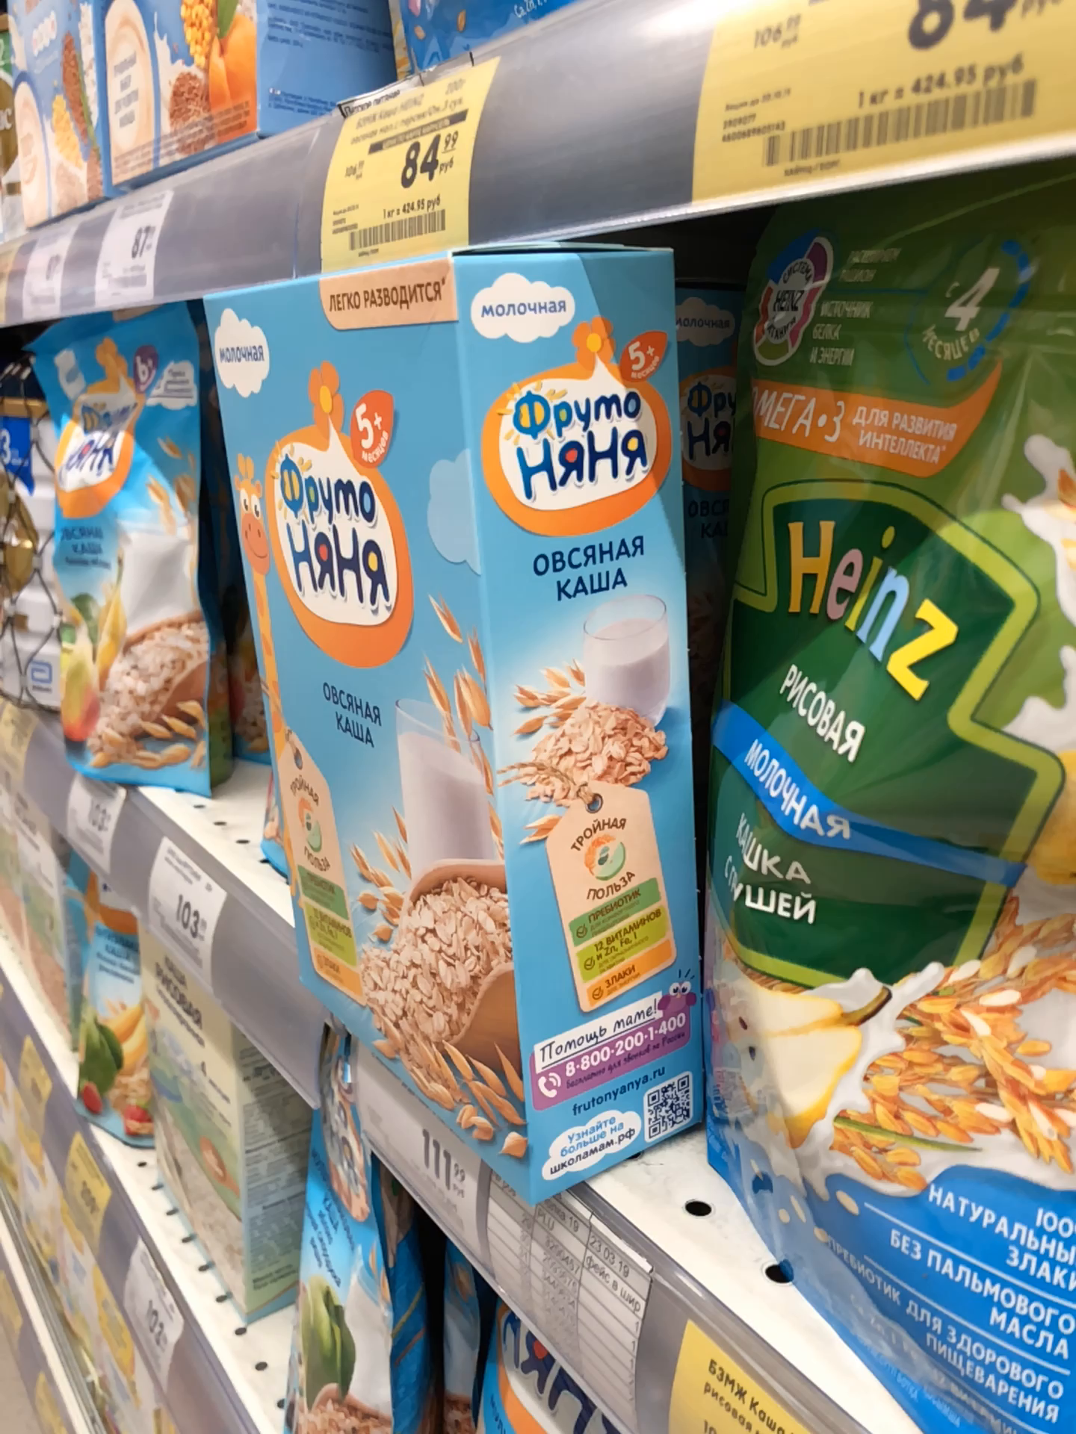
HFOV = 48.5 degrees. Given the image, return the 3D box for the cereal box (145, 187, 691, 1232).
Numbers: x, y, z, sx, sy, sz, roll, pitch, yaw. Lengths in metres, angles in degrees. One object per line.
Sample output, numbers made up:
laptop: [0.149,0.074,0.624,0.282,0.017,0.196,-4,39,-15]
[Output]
cereal box: [-0.032,-0.009,0.286,0.050,0.199,0.140,-15,20,-32]
